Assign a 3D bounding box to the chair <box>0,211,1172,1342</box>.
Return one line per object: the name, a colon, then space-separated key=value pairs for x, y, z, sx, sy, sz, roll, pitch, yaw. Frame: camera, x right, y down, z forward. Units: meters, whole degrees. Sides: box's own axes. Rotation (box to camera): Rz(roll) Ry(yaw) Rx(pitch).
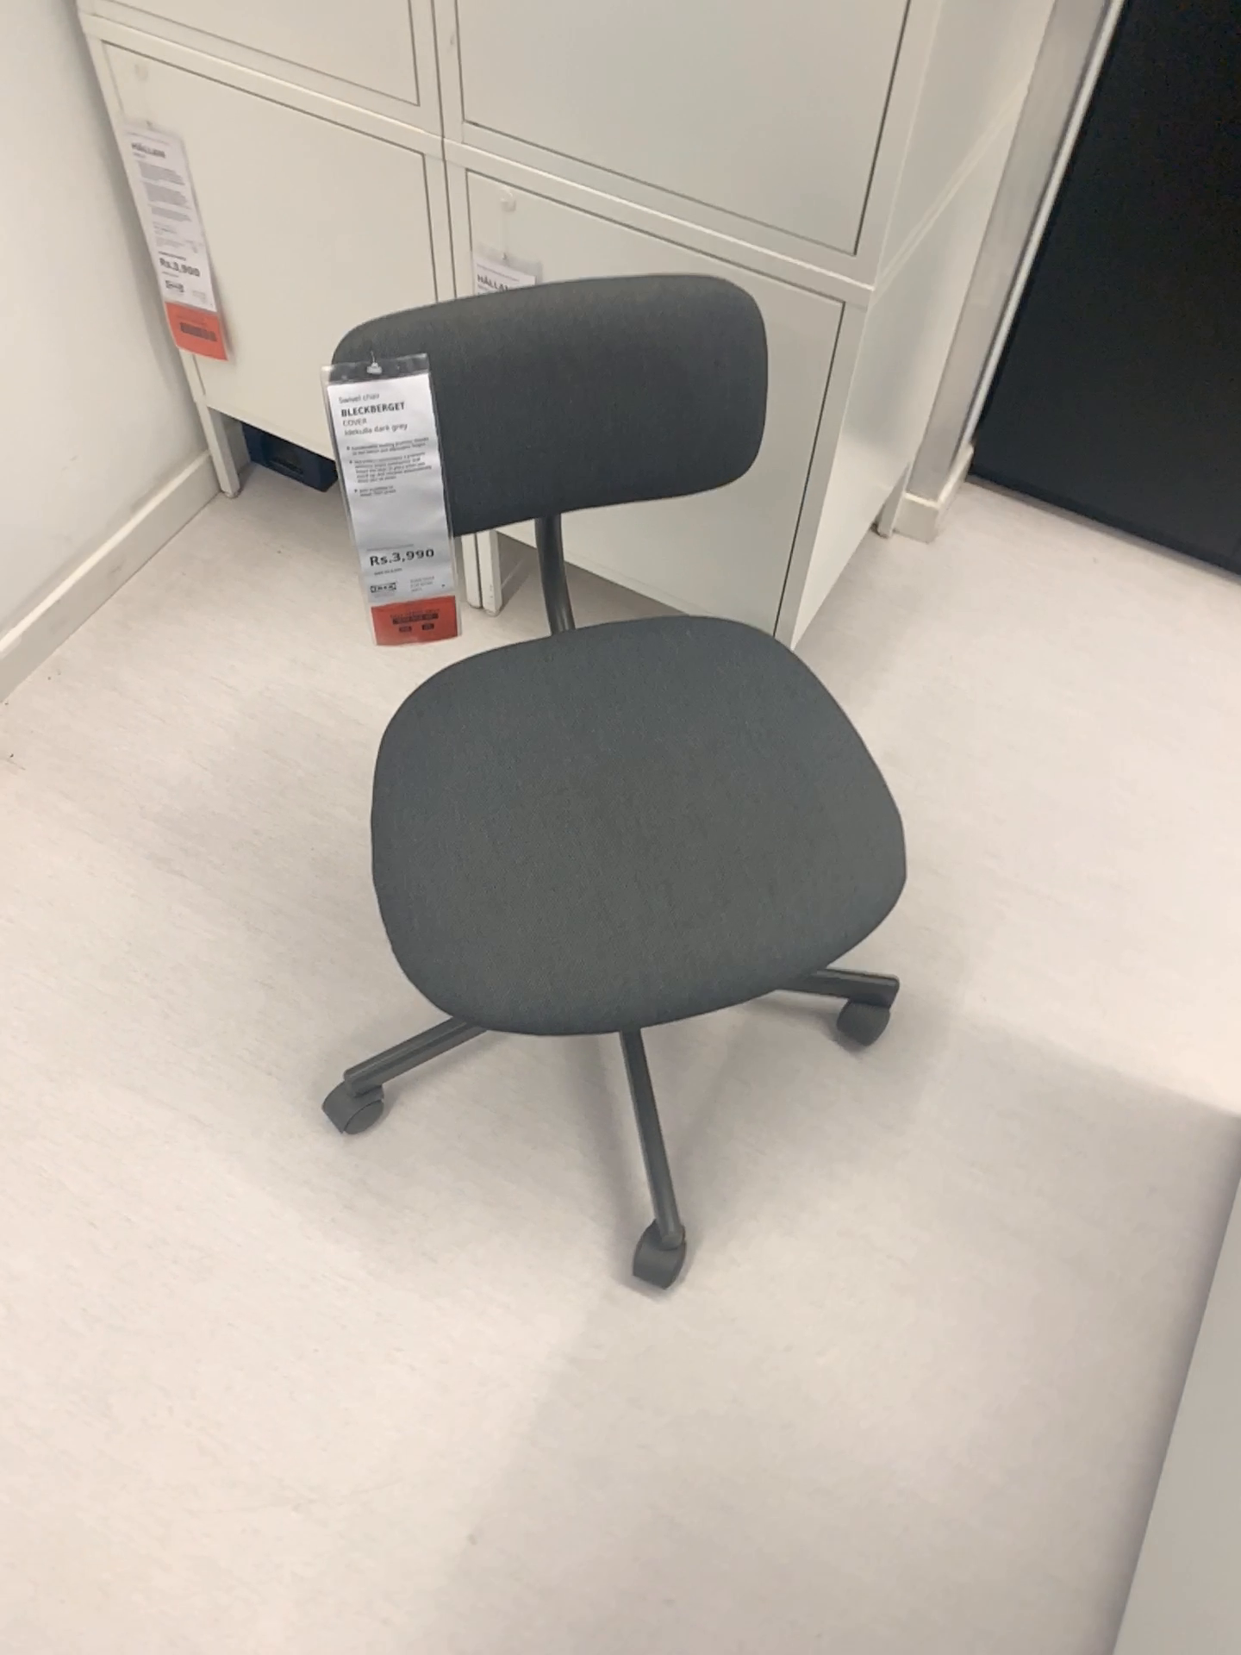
chair: x=-0.008 y=-0.015 z=1.192 sx=0.720 sy=0.679 sz=0.712 roll=9 pitch=57 yaw=3
